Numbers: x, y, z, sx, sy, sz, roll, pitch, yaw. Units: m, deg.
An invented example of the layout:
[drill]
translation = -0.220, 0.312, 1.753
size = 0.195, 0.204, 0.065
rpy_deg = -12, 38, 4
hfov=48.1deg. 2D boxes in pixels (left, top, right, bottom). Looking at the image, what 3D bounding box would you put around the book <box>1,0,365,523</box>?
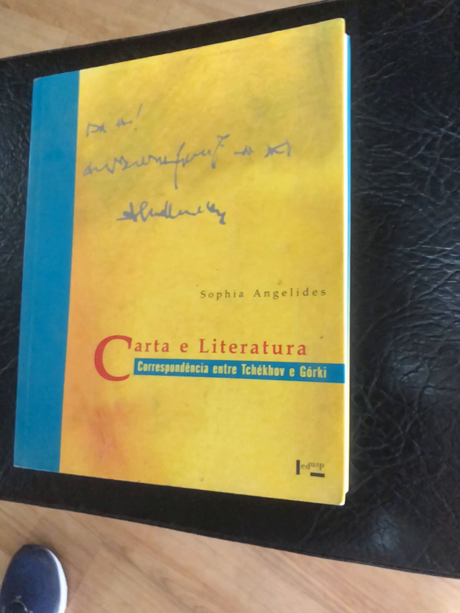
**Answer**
[book]
translation = -0.026, -0.020, 0.244
size = 0.173, 0.024, 0.208
rpy_deg = 0, 85, 21
